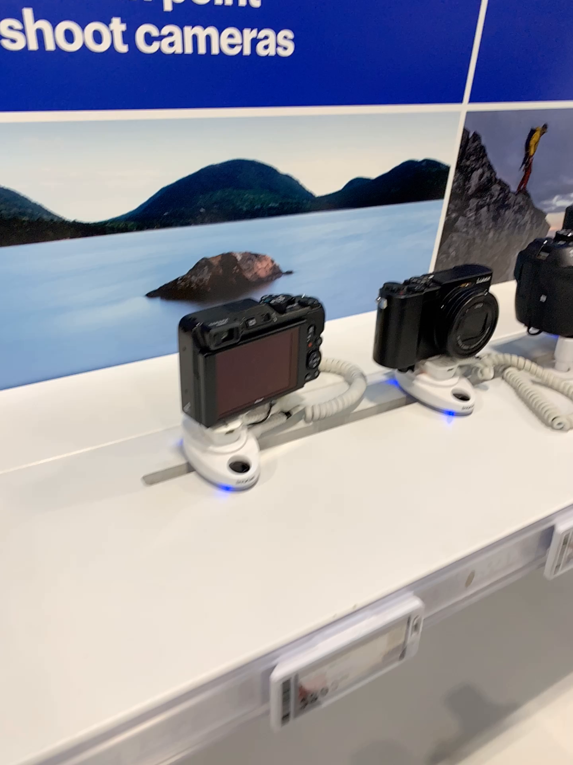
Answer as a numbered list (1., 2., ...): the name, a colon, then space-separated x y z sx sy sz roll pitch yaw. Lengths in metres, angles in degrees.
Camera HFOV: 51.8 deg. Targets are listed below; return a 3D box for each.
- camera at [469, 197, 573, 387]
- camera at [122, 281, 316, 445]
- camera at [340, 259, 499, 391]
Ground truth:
1. camera: 0.281 -0.091 0.517 0.160 0.099 0.151 -16 32 -26
2. camera: -0.042 -0.018 0.407 0.120 0.070 0.050 -21 34 -33
3. camera: 0.103 -0.048 0.464 0.110 0.070 0.050 -16 32 -26
